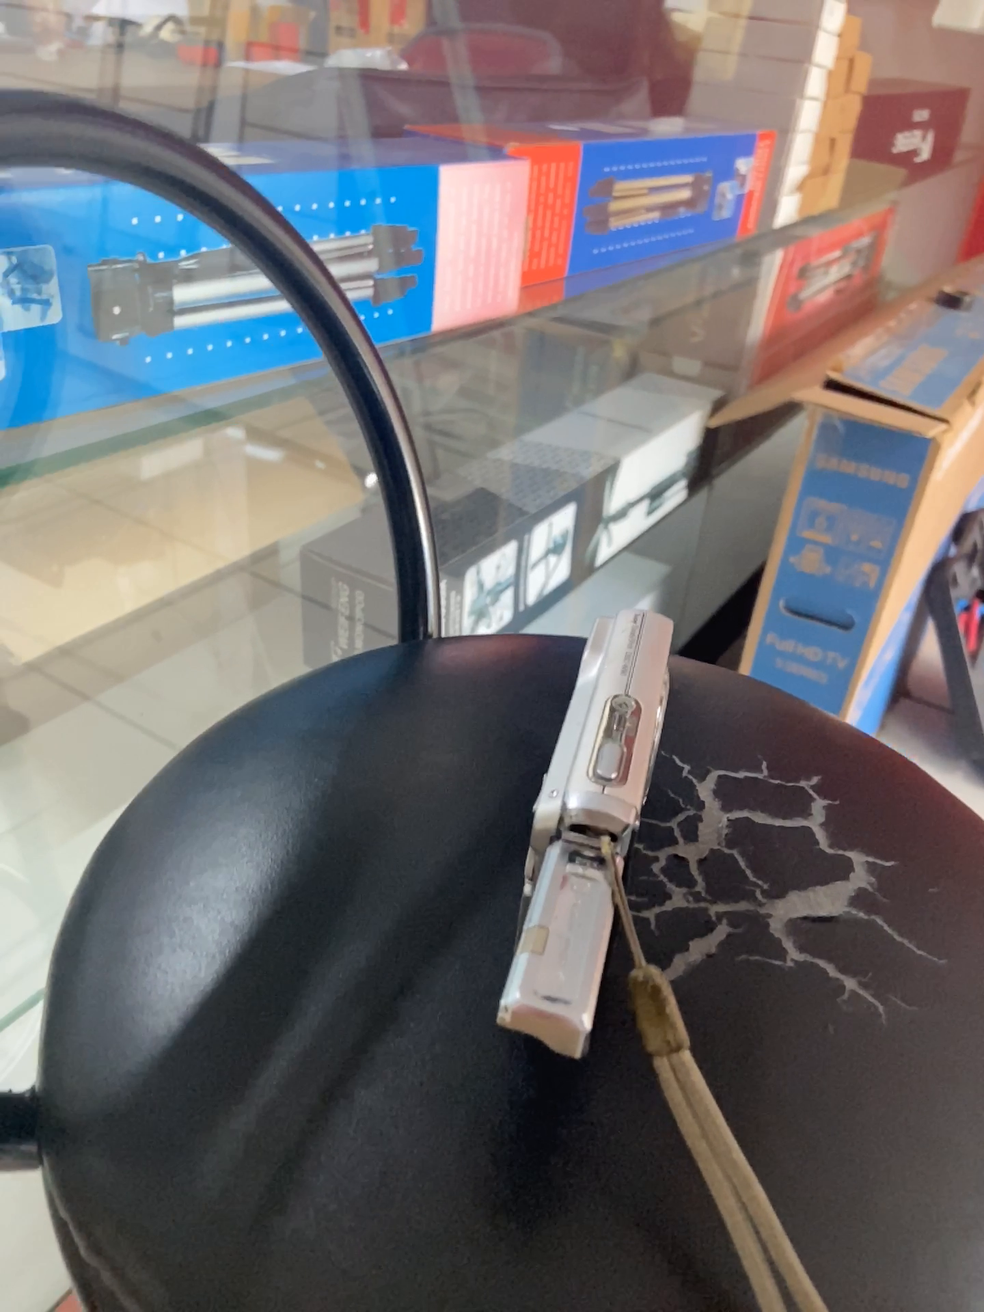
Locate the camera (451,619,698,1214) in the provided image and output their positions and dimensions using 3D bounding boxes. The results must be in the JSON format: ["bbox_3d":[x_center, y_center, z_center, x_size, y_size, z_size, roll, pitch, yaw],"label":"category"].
[{"bbox_3d":[0.025,0.049,0.243,0.030,0.053,0.137,11,32,9],"label":"camera"}]
